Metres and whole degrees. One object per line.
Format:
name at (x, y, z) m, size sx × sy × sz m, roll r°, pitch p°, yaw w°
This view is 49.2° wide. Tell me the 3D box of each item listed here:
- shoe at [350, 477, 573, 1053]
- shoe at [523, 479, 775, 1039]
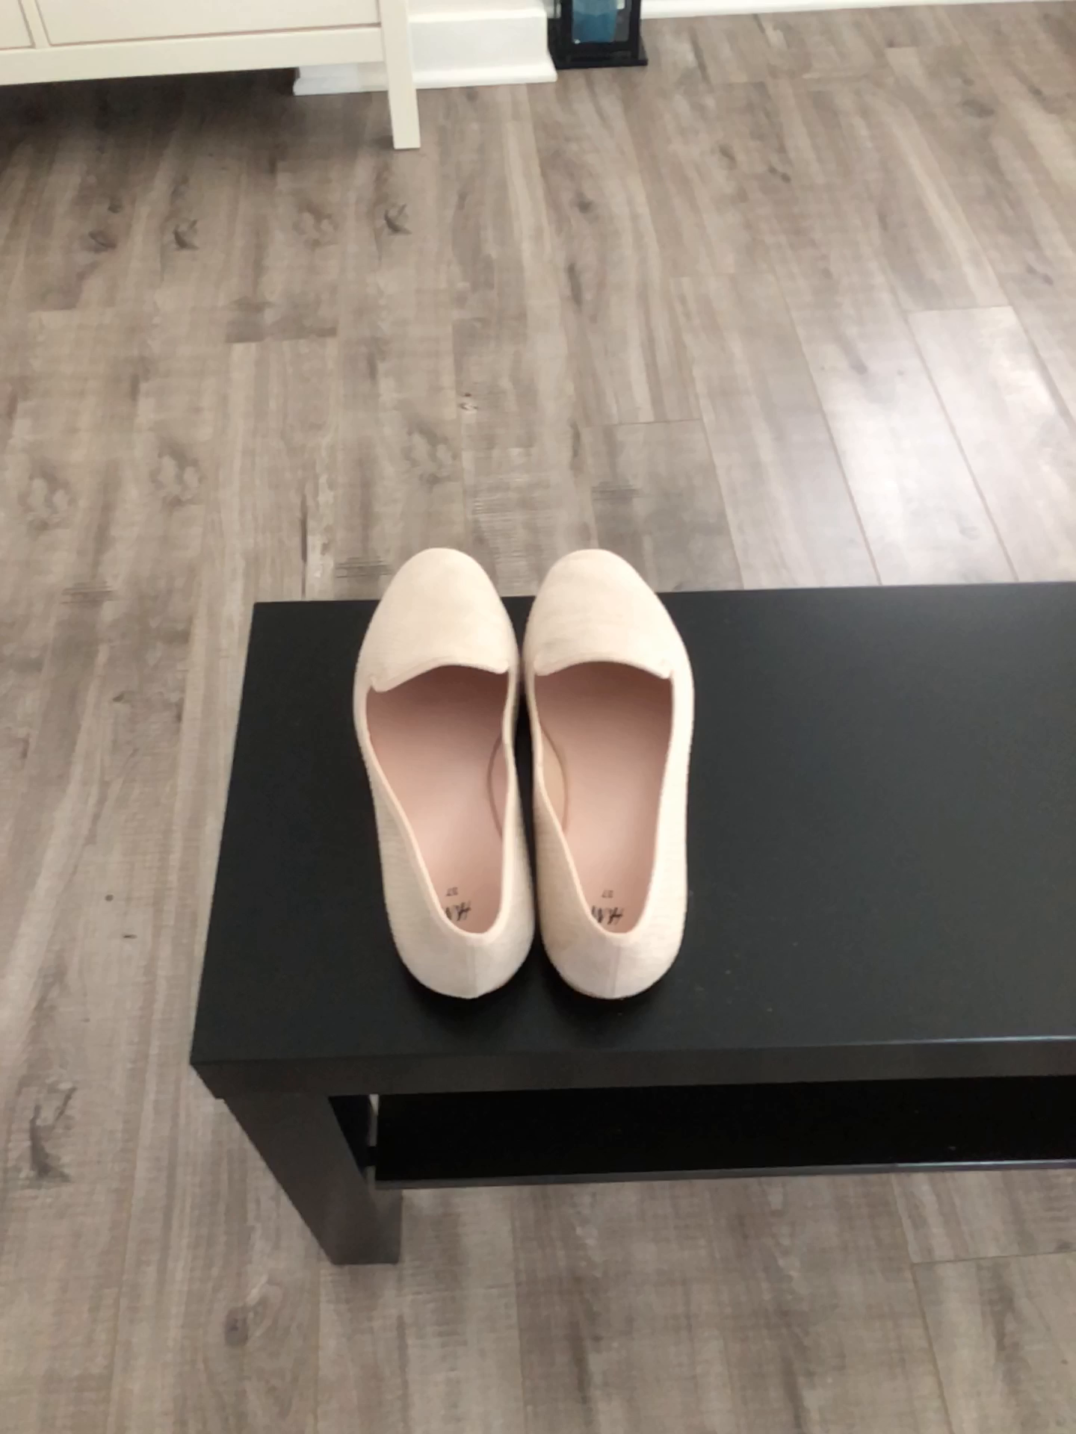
shoe at (-0.040, 0.010, 0.534) m, size 0.080 × 0.070 × 0.260 m, roll -5°, pitch 55°, yaw -3°
shoe at (0.040, 0.008, 0.539) m, size 0.090 × 0.070 × 0.259 m, roll -1°, pitch 55°, yaw 0°
